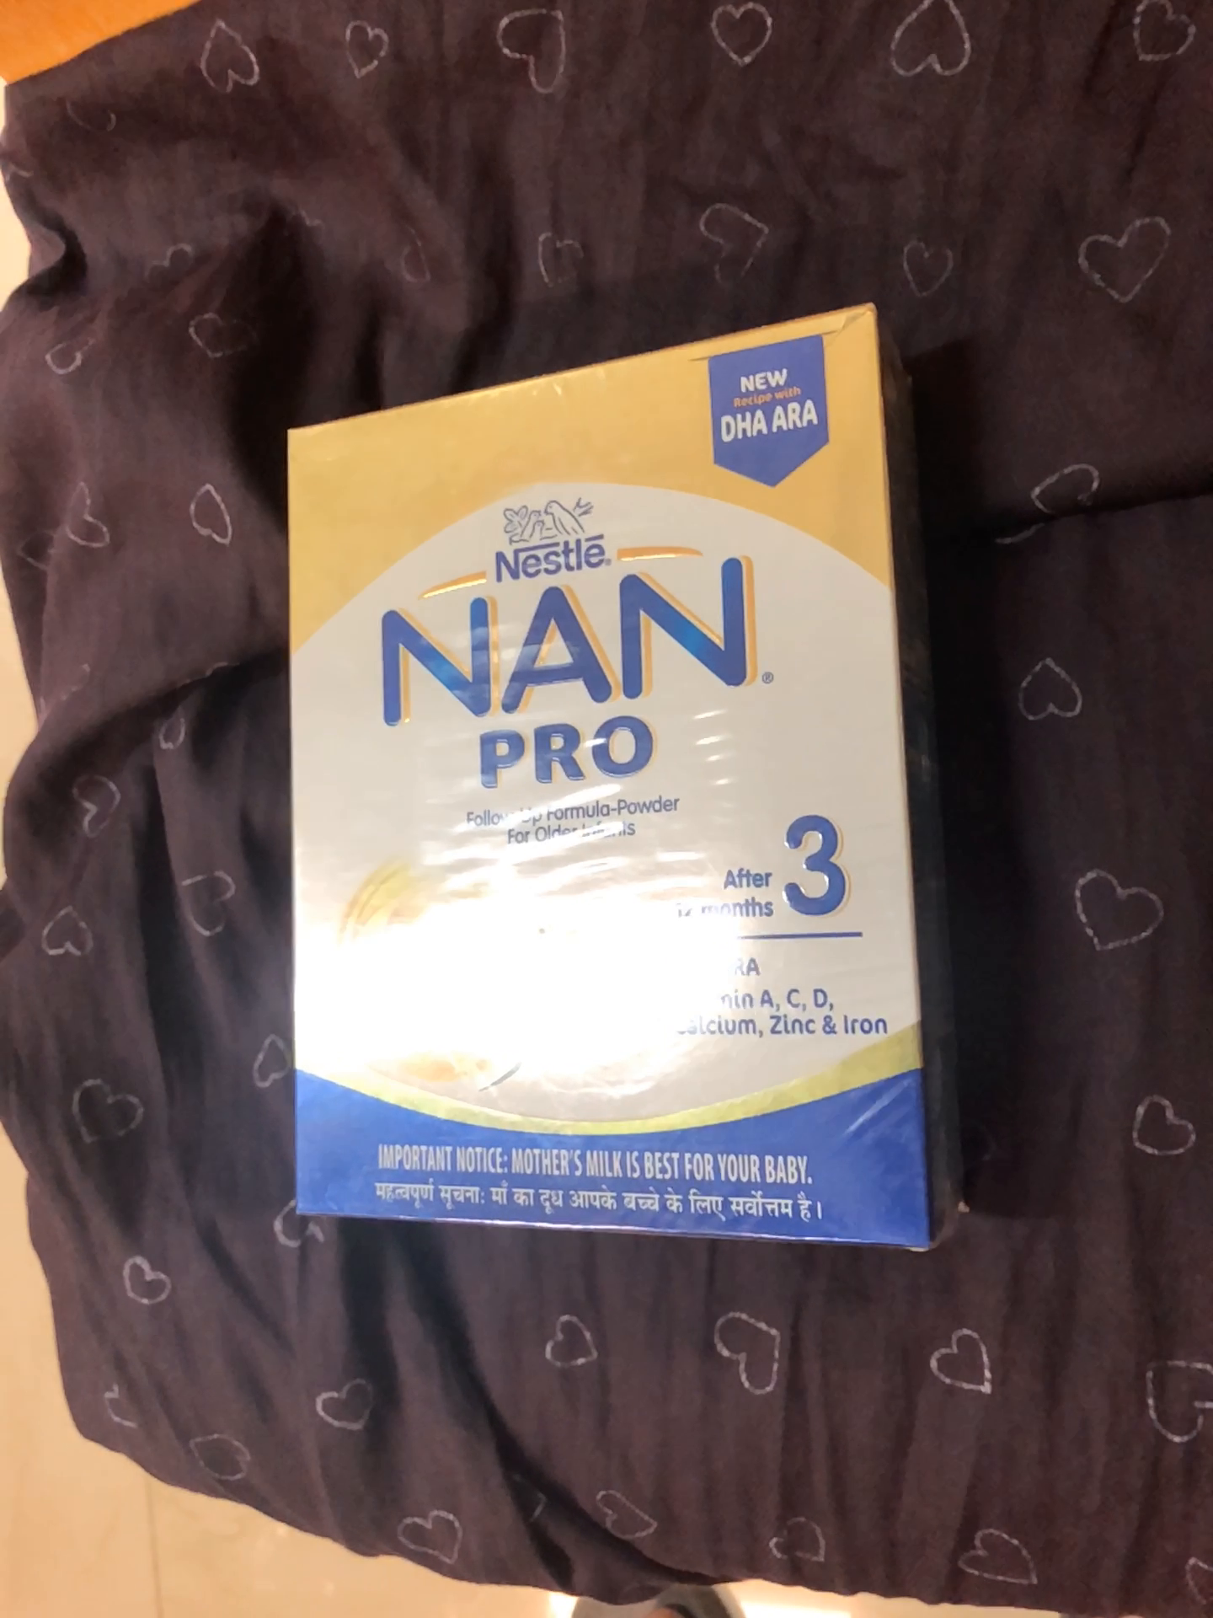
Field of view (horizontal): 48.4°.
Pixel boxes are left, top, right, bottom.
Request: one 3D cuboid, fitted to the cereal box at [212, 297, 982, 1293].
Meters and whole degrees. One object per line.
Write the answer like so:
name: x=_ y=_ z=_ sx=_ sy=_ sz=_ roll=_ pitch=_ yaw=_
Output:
cereal box: x=-0.004 y=0.002 z=0.319 sx=0.160 sy=0.070 sz=0.190 roll=-5 pitch=84 yaw=23
